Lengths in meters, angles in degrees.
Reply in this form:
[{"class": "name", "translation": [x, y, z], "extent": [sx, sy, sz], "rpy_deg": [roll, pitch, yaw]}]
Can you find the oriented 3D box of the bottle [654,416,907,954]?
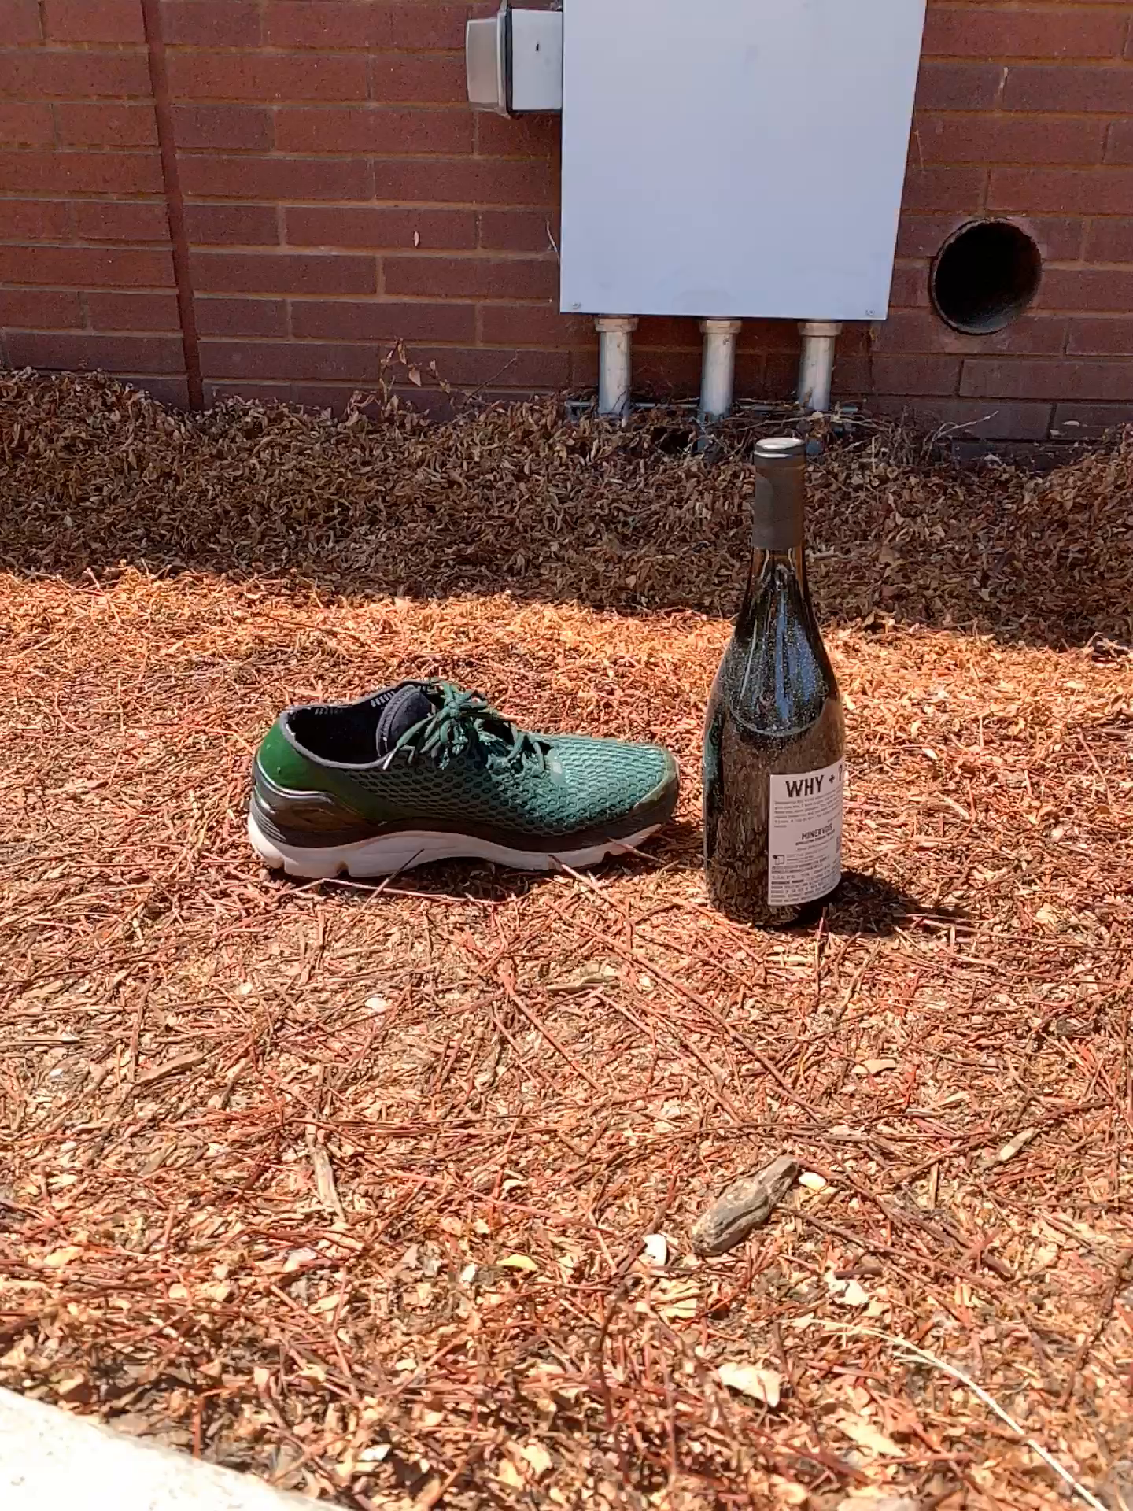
[{"class": "bottle", "translation": [0.119, -0.043, 0.666], "extent": [0.100, 0.278, 0.090], "rpy_deg": [-22, 29, -40]}]
